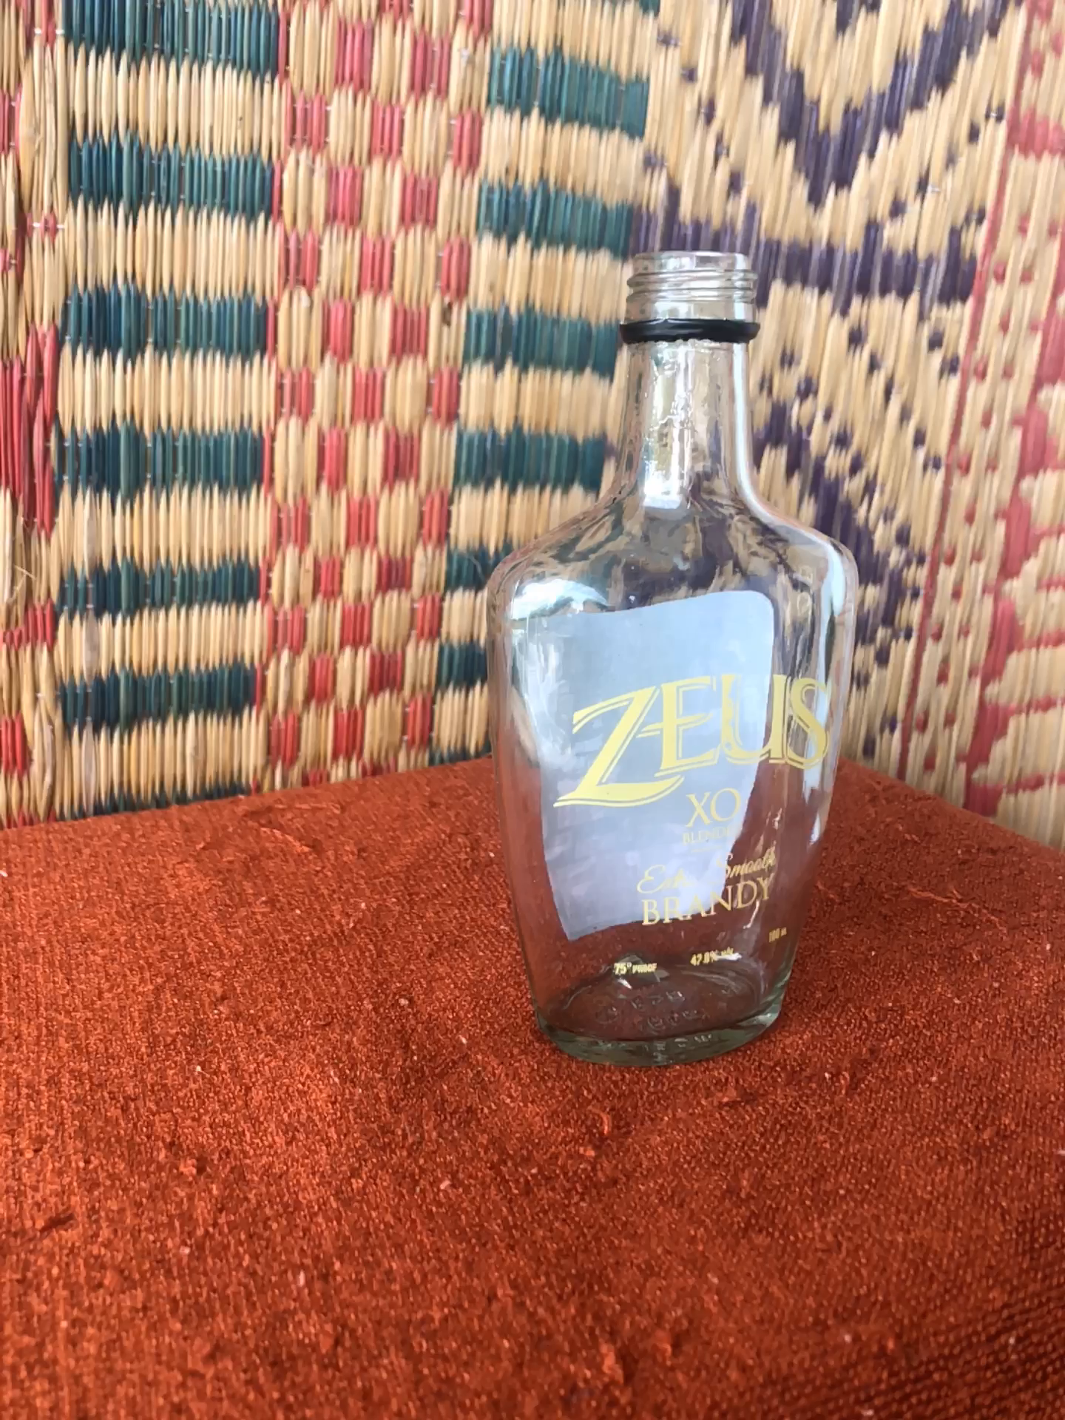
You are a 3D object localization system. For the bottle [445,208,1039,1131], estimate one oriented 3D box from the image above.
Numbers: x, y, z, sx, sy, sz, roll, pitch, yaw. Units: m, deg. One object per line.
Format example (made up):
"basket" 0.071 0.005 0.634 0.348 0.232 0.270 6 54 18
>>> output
"bottle" 0.032 -0.006 0.217 0.080 0.149 0.040 -3 20 -22
